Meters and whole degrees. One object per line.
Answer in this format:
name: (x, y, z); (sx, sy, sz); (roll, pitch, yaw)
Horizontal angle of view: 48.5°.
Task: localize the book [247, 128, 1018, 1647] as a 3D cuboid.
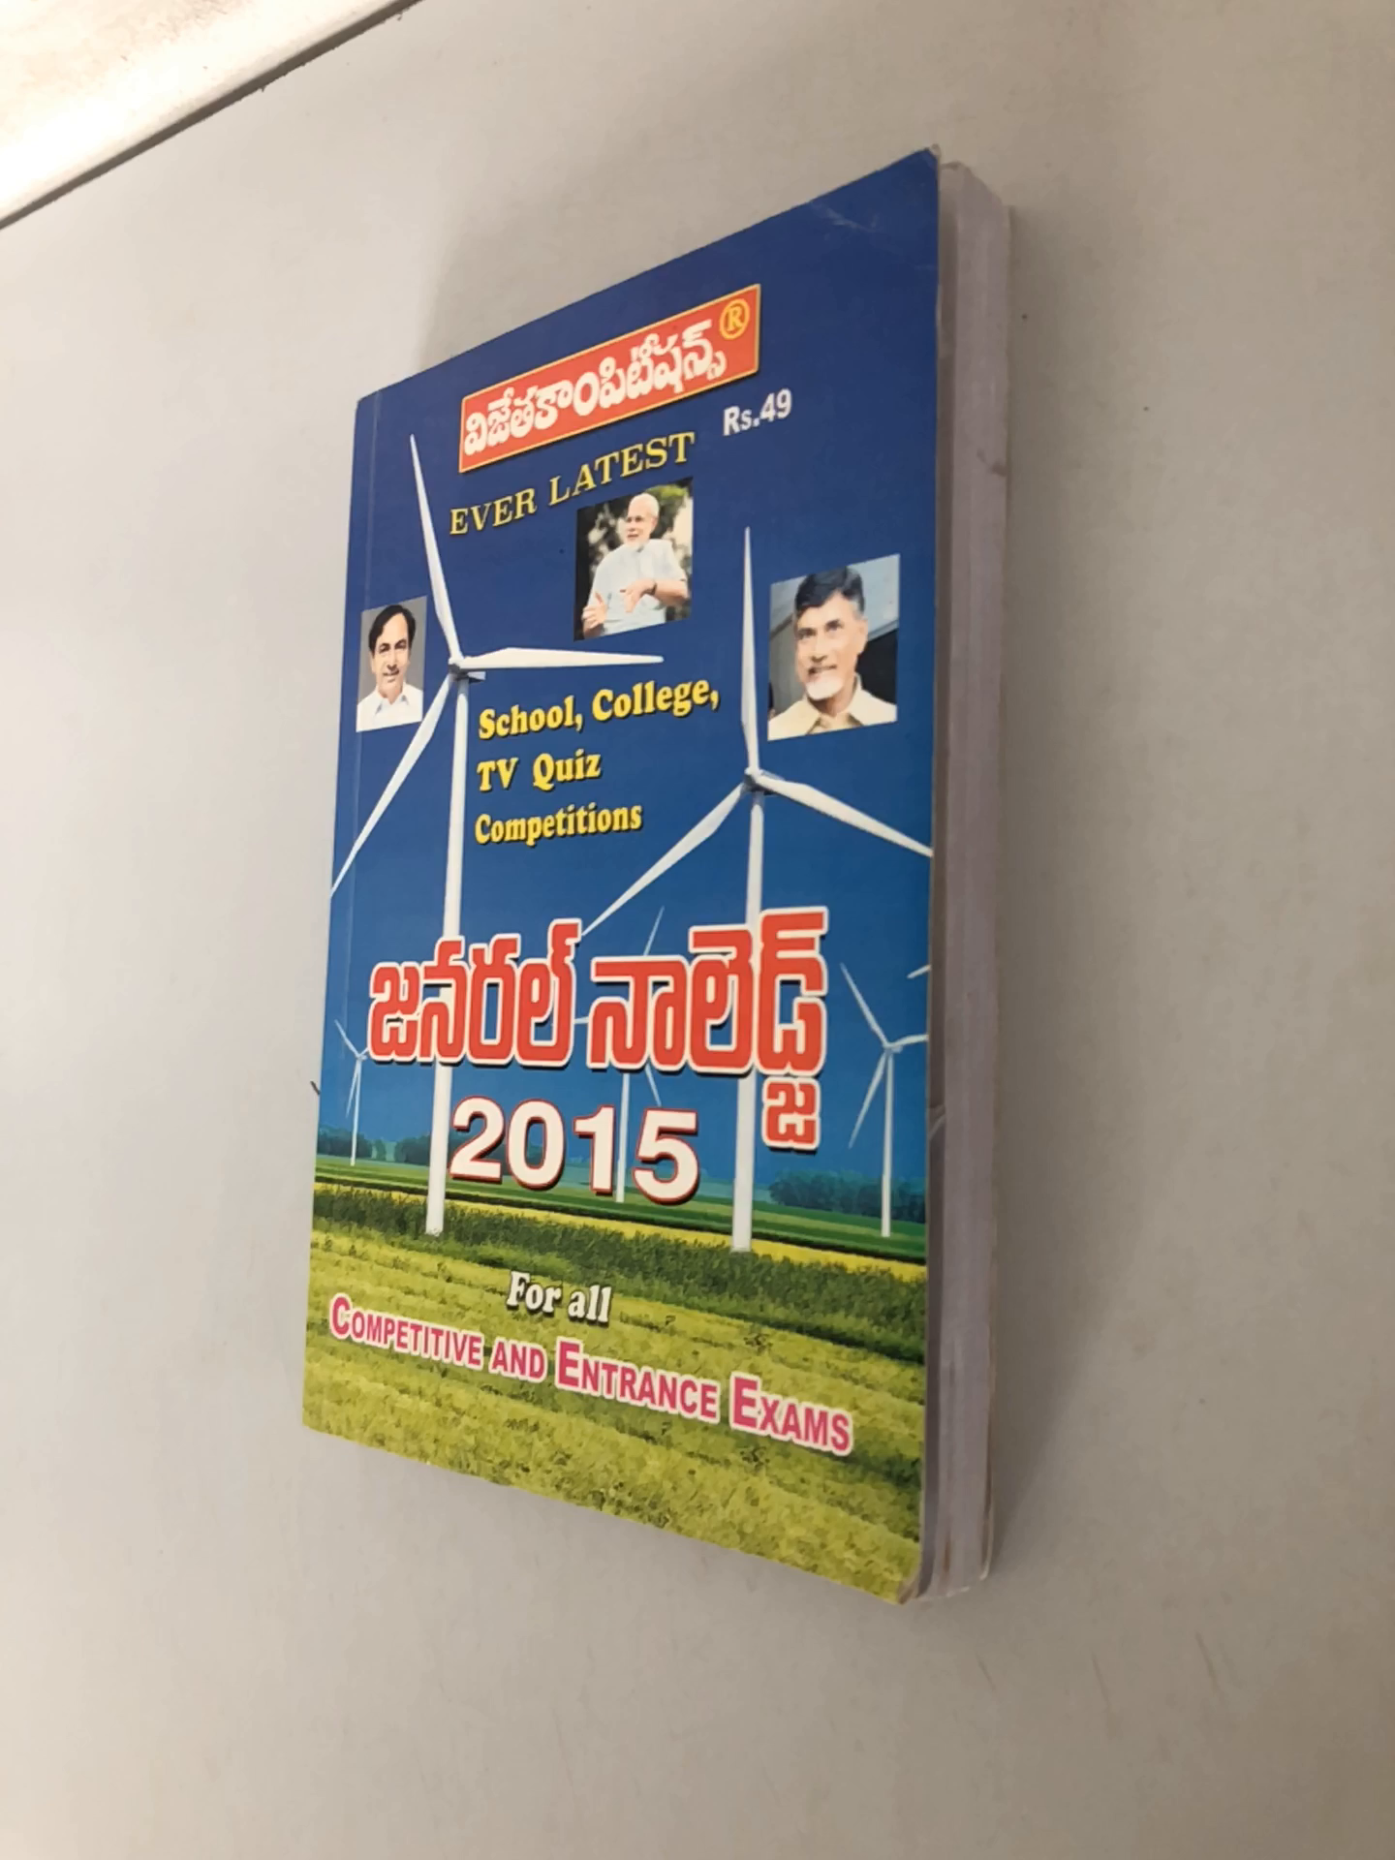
book: (-0.016, -0.006, 0.235); (0.129, 0.022, 0.182); (-3, 83, 40)
